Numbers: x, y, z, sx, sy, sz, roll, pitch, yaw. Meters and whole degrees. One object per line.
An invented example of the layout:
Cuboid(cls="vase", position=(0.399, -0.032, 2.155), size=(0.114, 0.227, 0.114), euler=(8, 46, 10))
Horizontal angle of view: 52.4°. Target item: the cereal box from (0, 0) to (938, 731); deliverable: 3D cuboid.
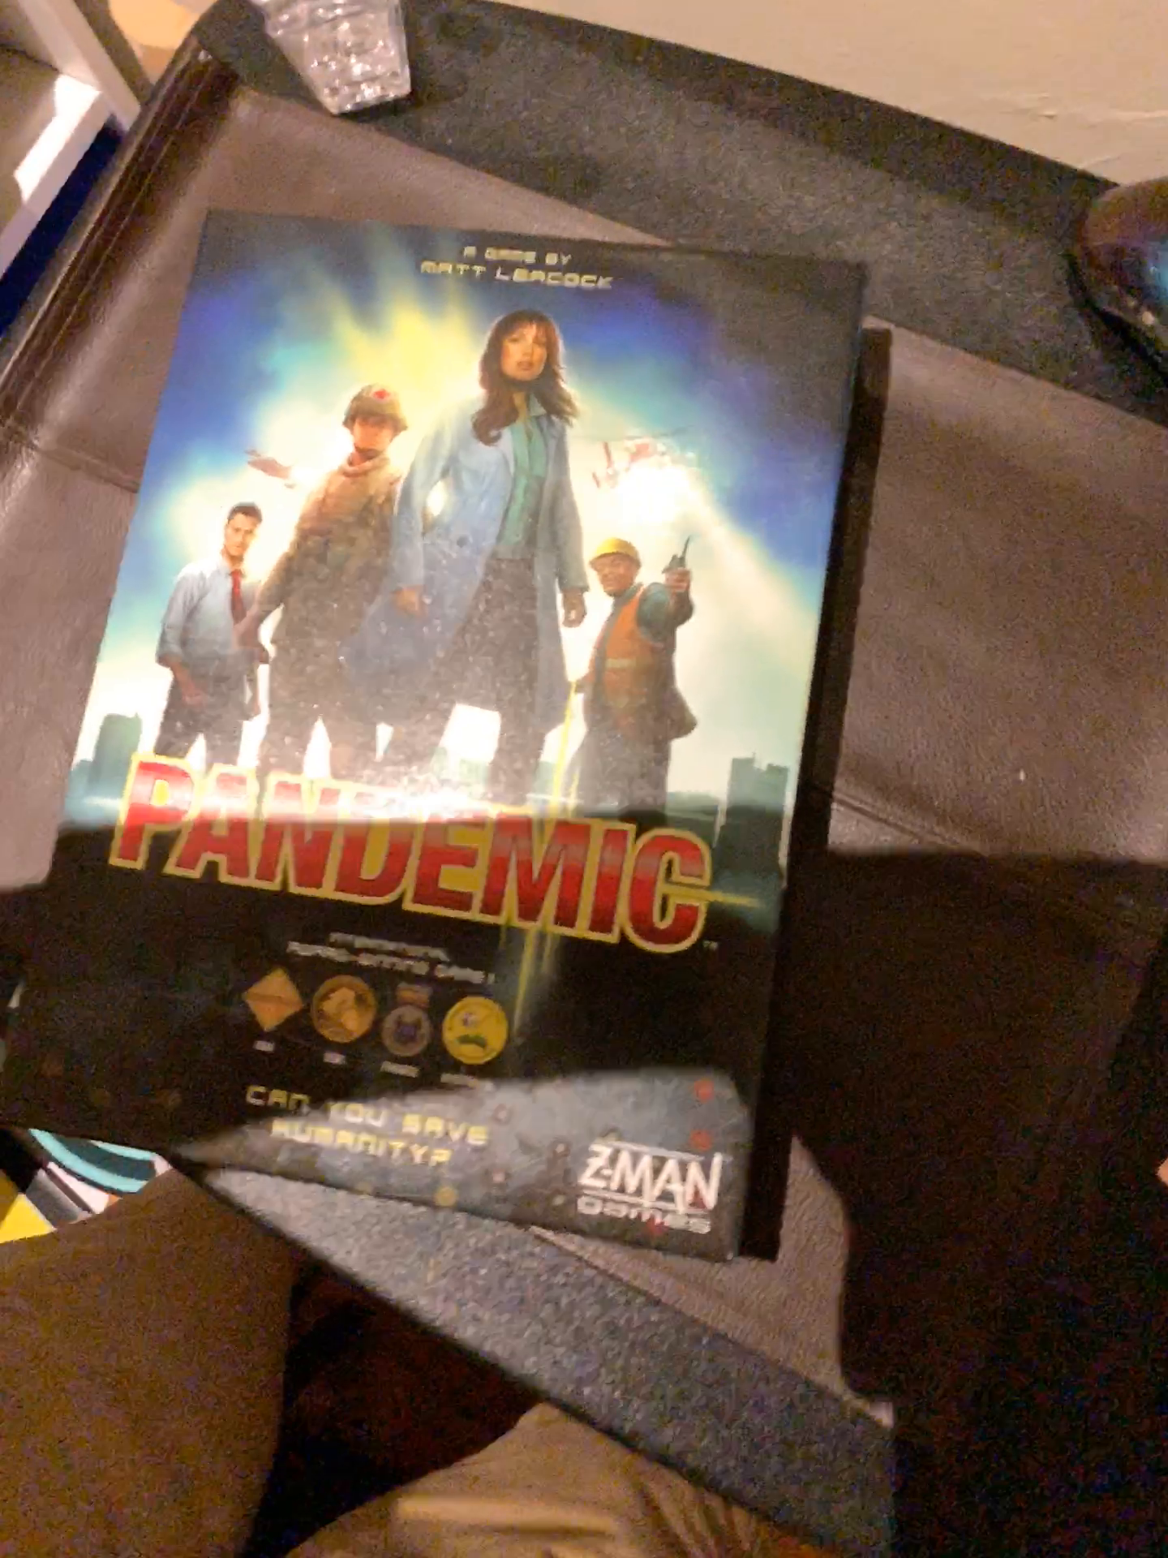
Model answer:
Cuboid(cls="cereal box", position=(-0.056, -0.478, 1.204), size=(0.470, 0.999, 0.510), euler=(-21, 77, 2))
